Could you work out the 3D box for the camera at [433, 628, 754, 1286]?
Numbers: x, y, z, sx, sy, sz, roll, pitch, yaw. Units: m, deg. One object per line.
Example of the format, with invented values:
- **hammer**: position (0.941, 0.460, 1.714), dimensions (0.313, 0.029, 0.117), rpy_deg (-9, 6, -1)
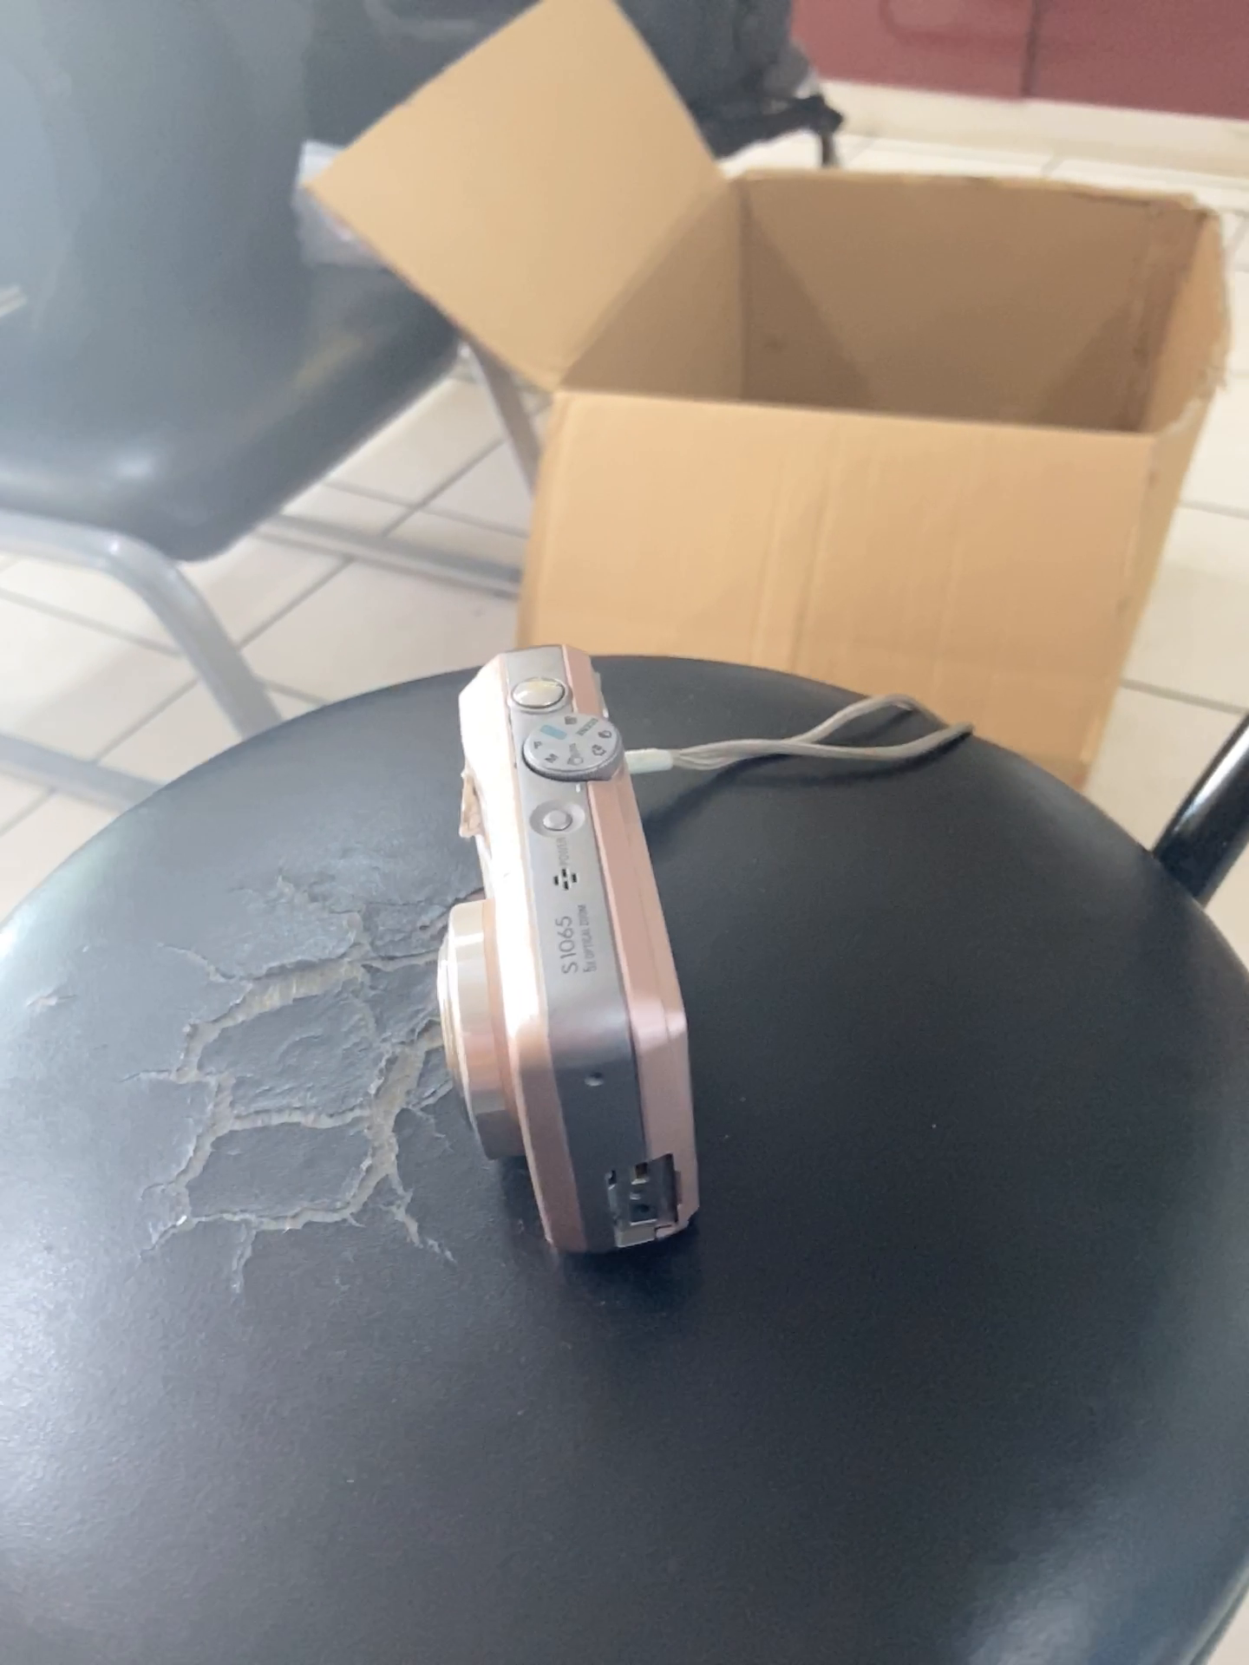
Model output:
- **camera**: position (-0.008, 0.020, 0.251), dimensions (0.040, 0.070, 0.101), rpy_deg (-10, 43, -6)
